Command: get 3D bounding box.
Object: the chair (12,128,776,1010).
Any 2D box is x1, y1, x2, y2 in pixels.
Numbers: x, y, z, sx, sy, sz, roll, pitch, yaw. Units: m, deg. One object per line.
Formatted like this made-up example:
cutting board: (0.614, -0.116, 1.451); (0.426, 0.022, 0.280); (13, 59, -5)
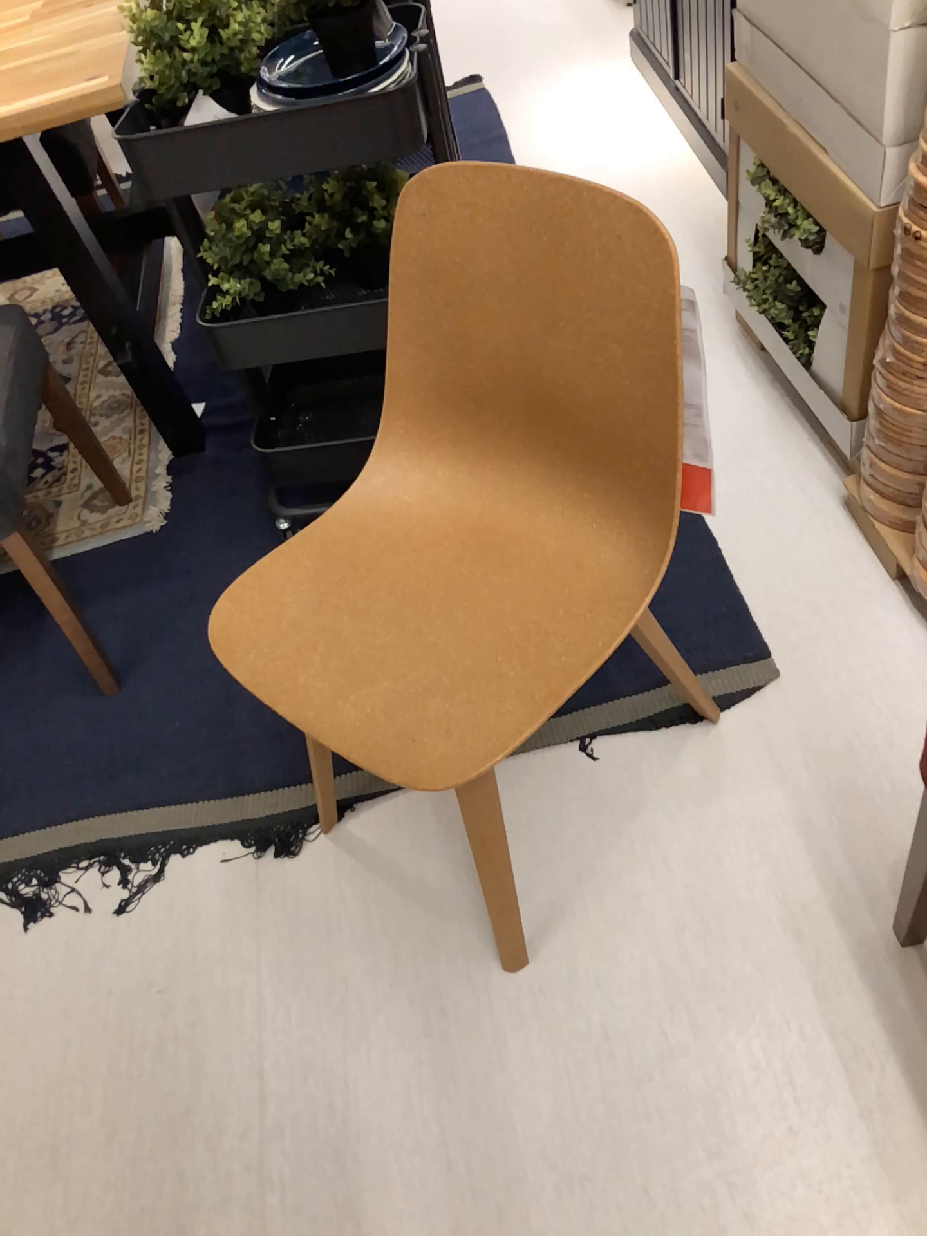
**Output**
chair: (0.010, -0.038, 1.175); (0.442, 0.745, 0.551); (28, 62, 33)
